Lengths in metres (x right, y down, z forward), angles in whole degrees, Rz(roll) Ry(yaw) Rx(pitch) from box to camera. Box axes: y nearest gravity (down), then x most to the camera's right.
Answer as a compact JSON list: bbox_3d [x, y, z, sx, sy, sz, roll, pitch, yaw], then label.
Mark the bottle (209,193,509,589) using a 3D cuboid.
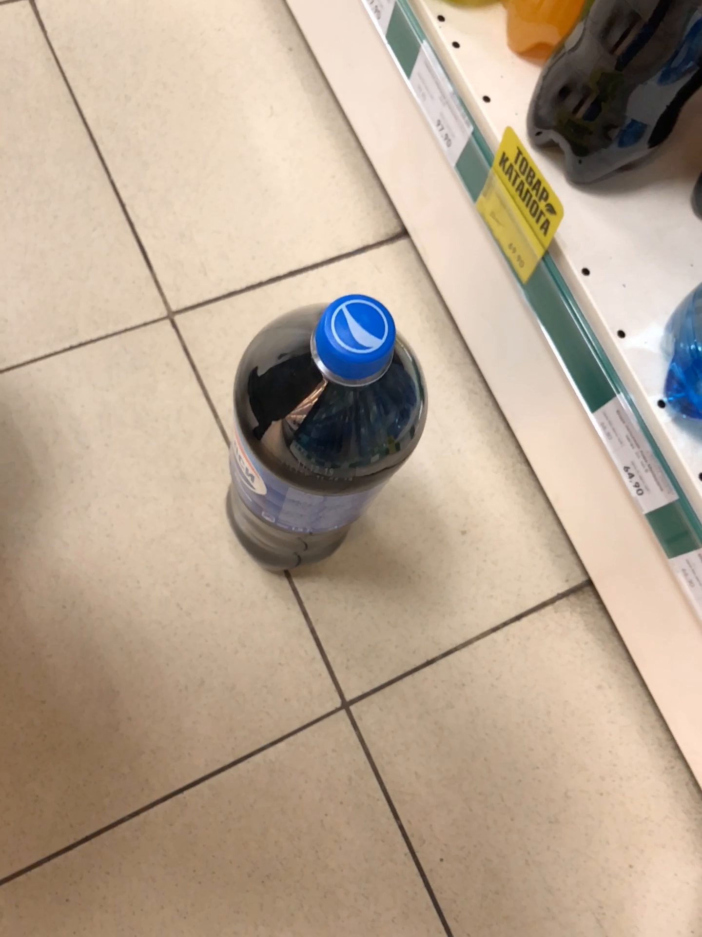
[{"bbox_3d":[-0.024,-0.011,0.438,0.085,0.316,0.089,3,73,-10],"label":"bottle"}]
